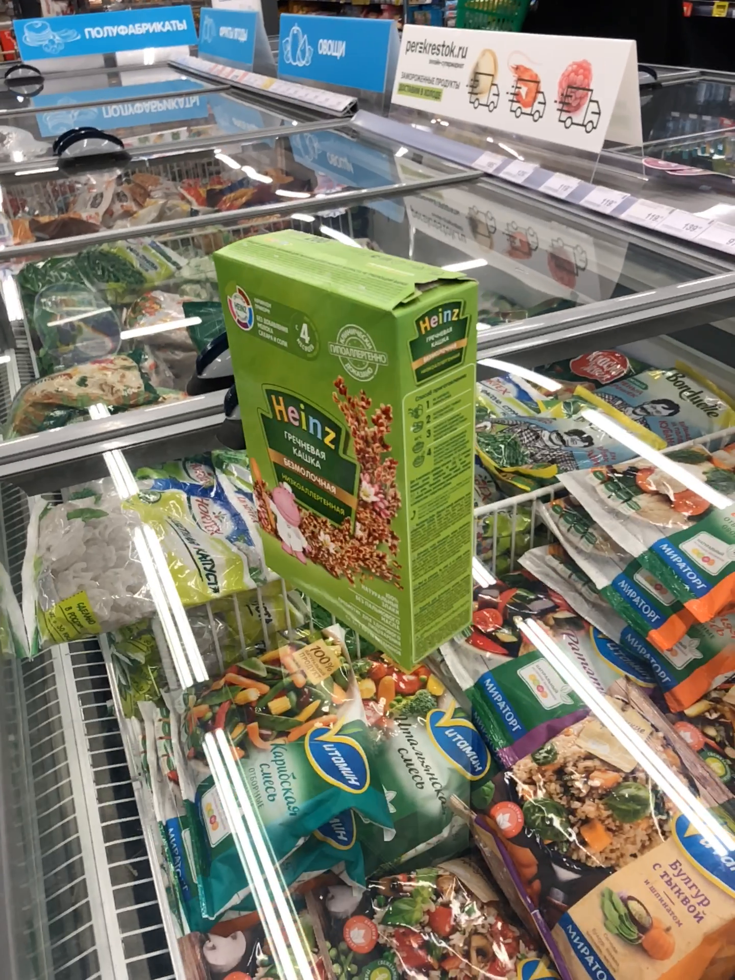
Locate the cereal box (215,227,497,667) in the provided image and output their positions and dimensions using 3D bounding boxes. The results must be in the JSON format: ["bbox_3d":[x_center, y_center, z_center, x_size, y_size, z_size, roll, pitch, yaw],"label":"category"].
[{"bbox_3d":[-0.005,-0.025,0.423,0.050,0.189,0.141,-28,40,-33],"label":"cereal box"}]
